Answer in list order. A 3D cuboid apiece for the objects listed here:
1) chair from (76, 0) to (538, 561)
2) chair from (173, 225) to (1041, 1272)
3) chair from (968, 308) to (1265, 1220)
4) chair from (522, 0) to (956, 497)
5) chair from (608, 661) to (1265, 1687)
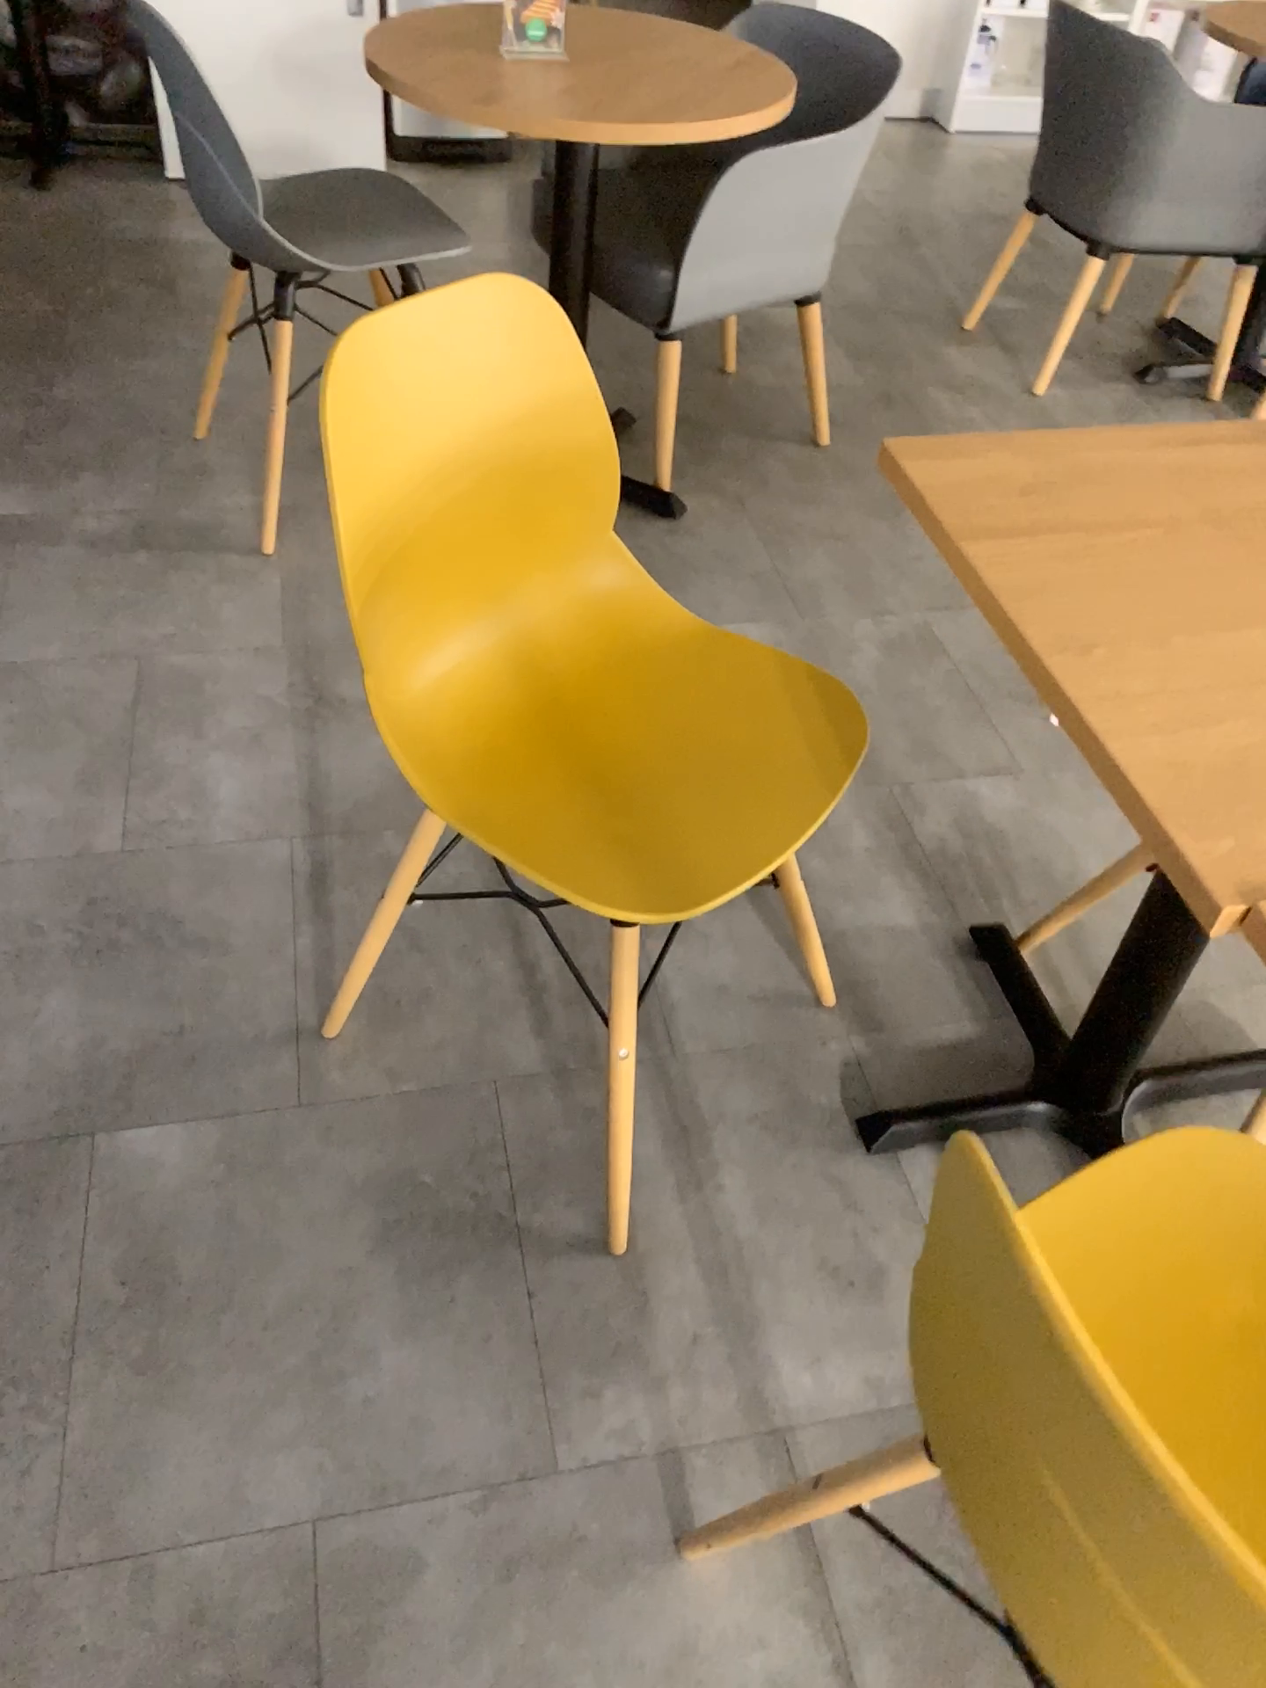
[{"bbox_3d":[-0.516,-0.989,2.147,0.523,0.776,0.500,-19,49,-24],"label":"chair"},{"bbox_3d":[-0.032,-0.093,1.313,0.493,0.786,0.520,30,48,23],"label":"chair"},{"bbox_3d":[0.782,-0.071,1.358,0.492,0.776,0.501,-6,45,-13],"label":"chair"},{"bbox_3d":[0.160,-1.206,2.524,0.523,0.756,0.550,-24,51,-28],"label":"chair"},{"bbox_3d":[0.335,0.385,0.838,0.492,0.776,0.500,-14,47,-21],"label":"chair"}]
